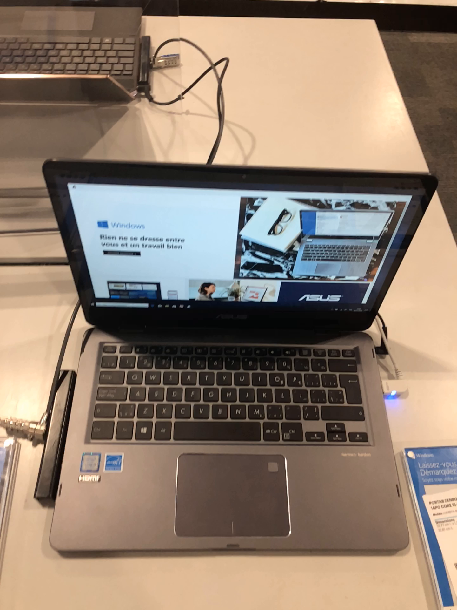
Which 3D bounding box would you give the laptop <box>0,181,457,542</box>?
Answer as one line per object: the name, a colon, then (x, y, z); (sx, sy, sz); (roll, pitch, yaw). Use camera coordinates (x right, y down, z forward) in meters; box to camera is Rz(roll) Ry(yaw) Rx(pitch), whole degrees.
laptop: (0.006, 0.056, 0.411); (0.302, 0.217, 0.224); (1, 56, -2)
